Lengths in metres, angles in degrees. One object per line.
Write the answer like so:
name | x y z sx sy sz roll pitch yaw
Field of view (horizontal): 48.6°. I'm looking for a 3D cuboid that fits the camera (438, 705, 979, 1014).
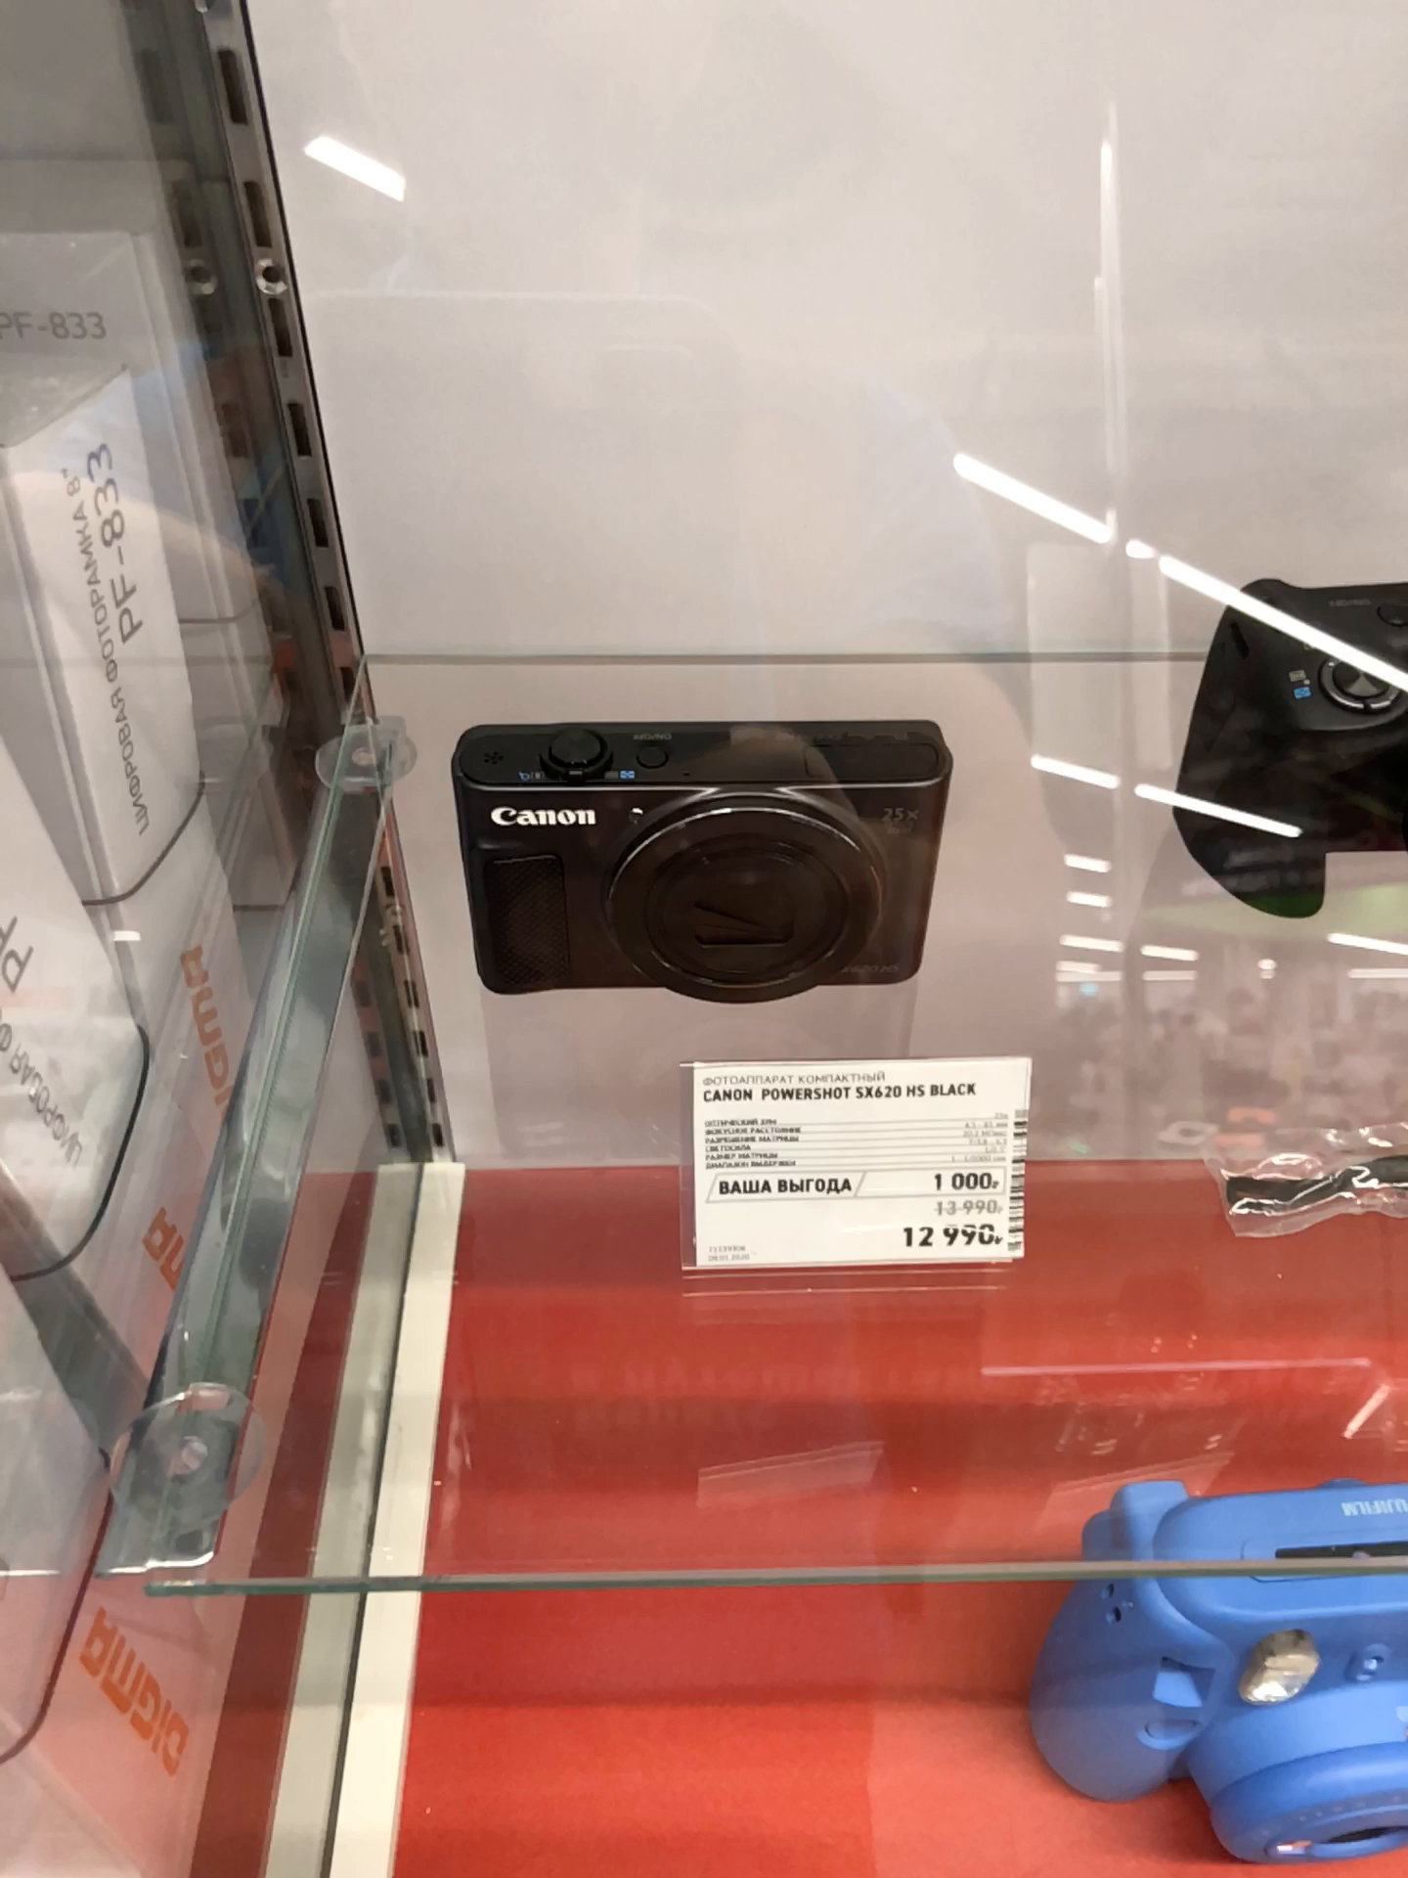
camera | 0.001 -0.015 0.312 0.098 0.055 0.030 0 45 -1
